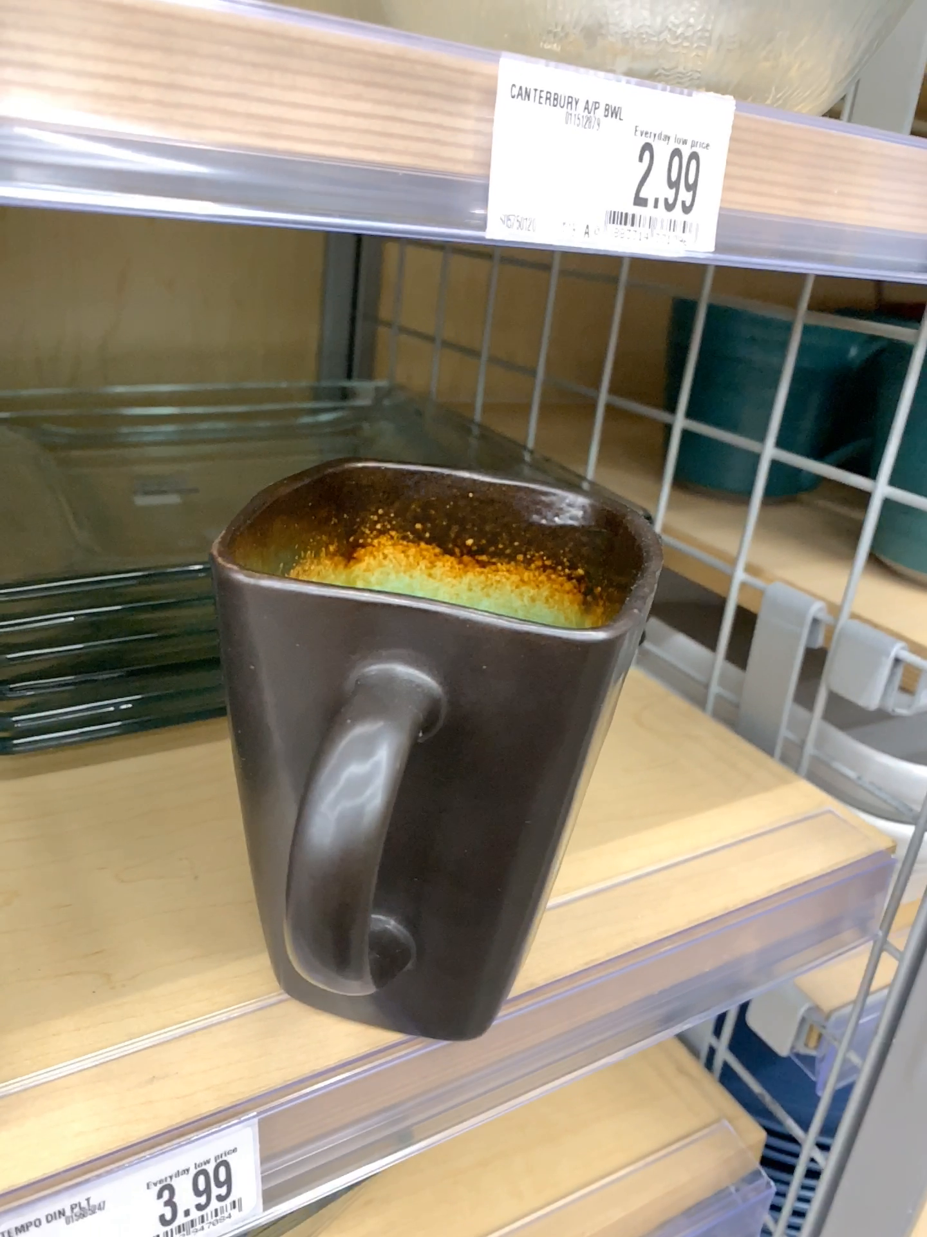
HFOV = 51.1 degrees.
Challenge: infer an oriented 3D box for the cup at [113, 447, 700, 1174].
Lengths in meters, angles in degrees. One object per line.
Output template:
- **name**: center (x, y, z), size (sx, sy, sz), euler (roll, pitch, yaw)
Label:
- **cup**: center (-0.008, 0.029, 0.211), size (0.088, 0.099, 0.108), euler (9, 22, 4)
